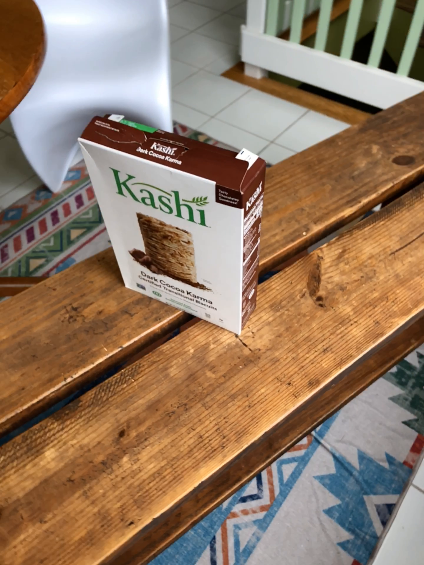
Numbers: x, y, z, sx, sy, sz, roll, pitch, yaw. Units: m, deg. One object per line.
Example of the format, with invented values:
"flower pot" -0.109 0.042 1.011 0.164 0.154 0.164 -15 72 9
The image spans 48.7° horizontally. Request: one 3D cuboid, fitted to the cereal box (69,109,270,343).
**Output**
"cereal box" -0.041 -0.053 0.586 0.200 0.278 0.060 21 58 17
